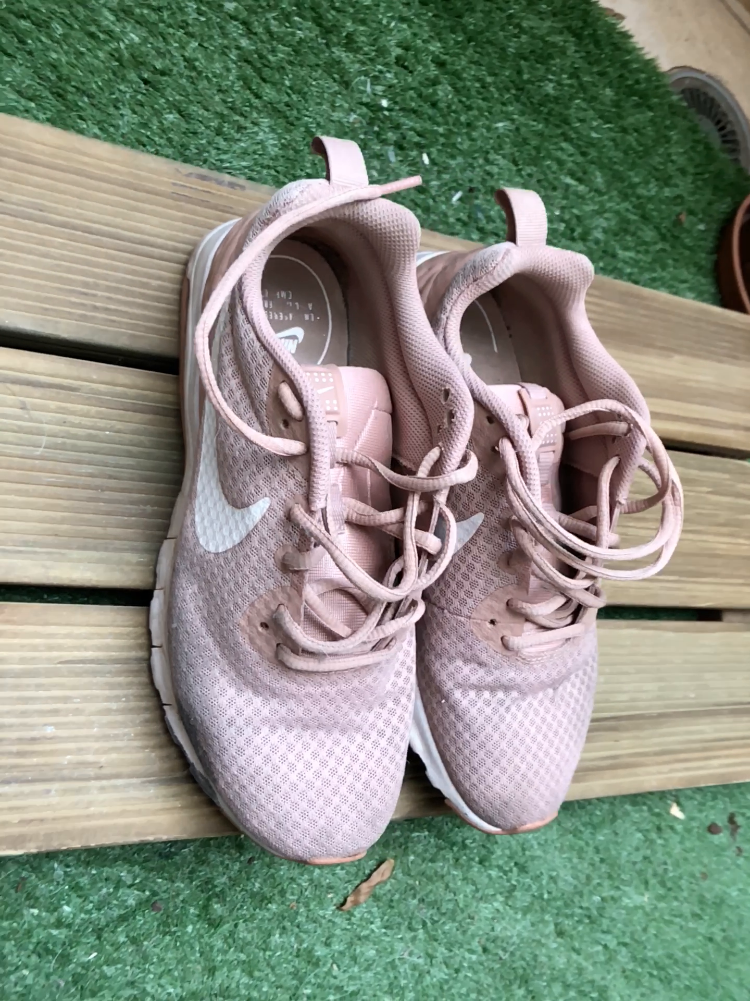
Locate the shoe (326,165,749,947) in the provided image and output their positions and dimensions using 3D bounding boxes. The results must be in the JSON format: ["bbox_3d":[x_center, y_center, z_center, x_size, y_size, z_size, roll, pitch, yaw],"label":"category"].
[{"bbox_3d":[0.062,0.015,0.341,0.110,0.090,0.260,-4,85,-27],"label":"shoe"}]

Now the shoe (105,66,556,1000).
[{"bbox_3d":[-0.023,0.008,0.290,0.110,0.090,0.260,-2,84,-27],"label":"shoe"}]
